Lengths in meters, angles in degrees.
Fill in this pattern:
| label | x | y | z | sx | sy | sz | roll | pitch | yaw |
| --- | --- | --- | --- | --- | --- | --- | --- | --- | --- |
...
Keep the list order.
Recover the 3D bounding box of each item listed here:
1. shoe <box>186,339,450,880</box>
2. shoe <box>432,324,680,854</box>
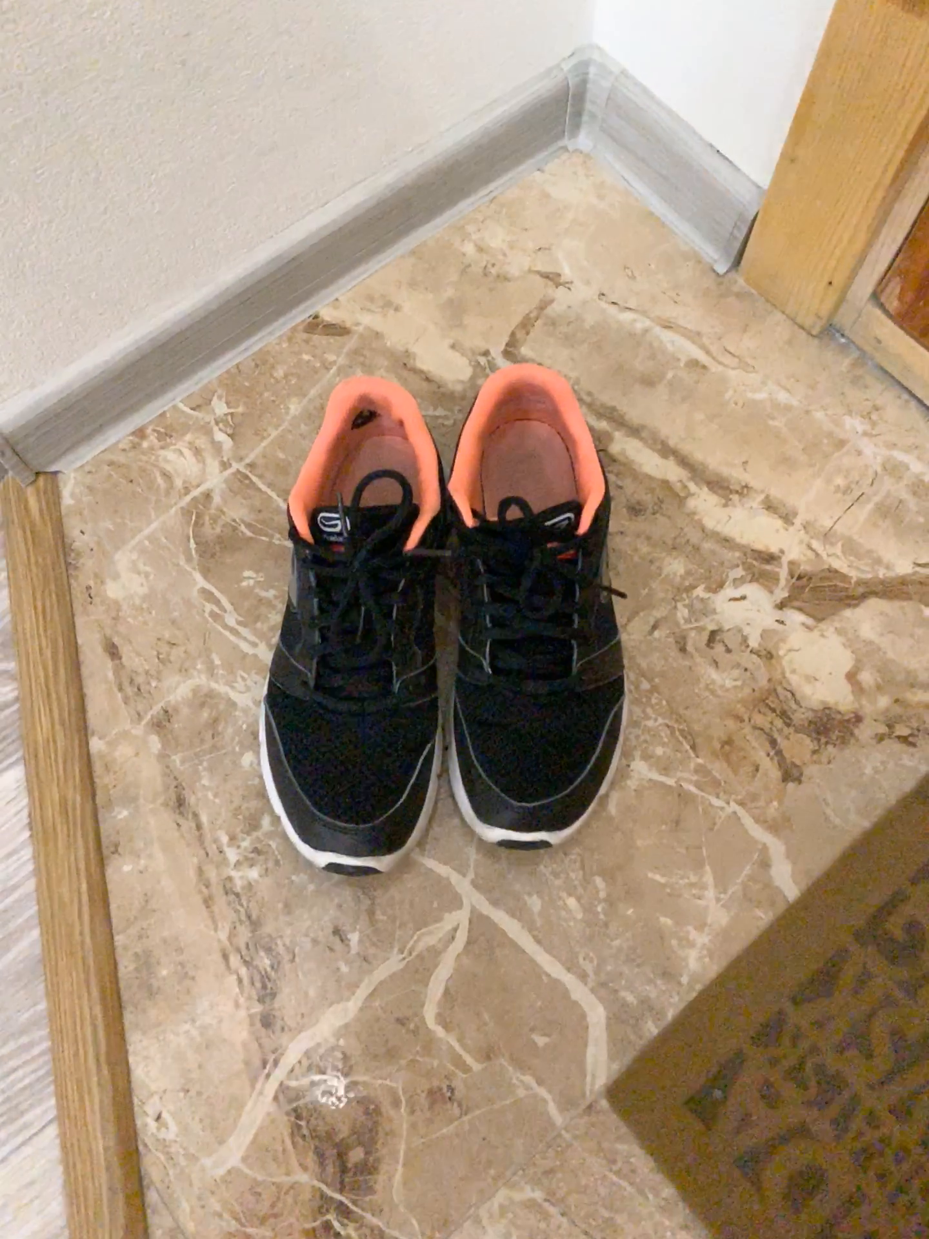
| label | x | y | z | sx | sy | sz | roll | pitch | yaw |
| --- | --- | --- | --- | --- | --- | --- | --- | --- | --- |
| shoe | -0.061 | -0.005 | 0.476 | 0.100 | 0.100 | 0.250 | 0 | 68 | 1 |
| shoe | 0.039 | -0.015 | 0.476 | 0.100 | 0.100 | 0.244 | 0 | 68 | 1 |
